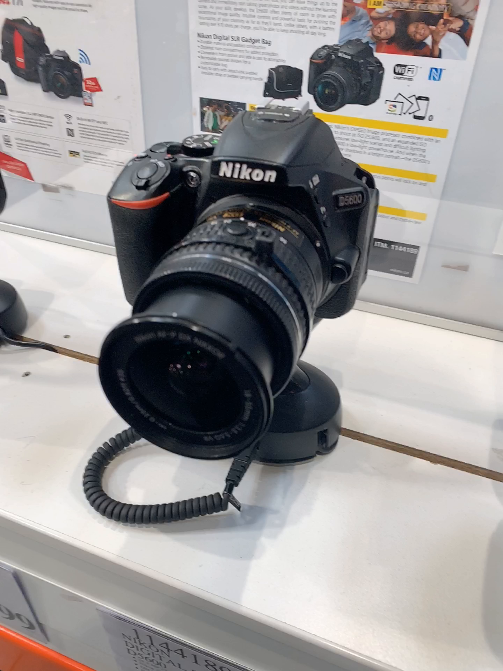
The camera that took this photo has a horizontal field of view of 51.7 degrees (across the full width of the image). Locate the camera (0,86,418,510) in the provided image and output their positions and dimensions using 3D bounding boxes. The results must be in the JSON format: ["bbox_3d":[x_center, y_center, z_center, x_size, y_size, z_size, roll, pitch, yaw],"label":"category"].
[{"bbox_3d":[-0.004,-0.032,0.206,0.111,0.090,0.141,12,38,14],"label":"camera"}]
